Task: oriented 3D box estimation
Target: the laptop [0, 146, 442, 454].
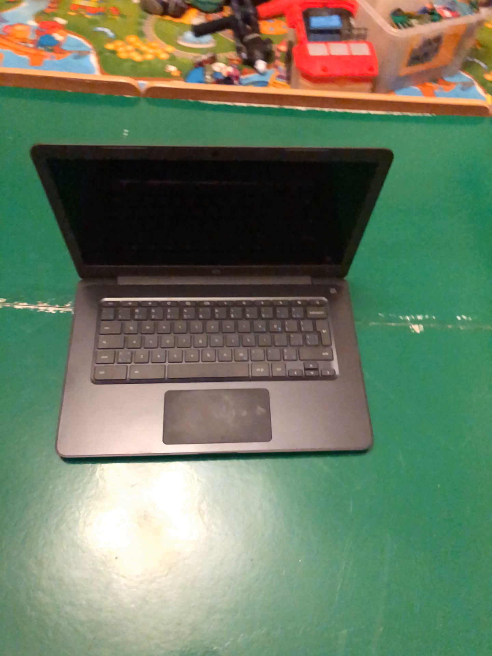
[{"bbox_3d":[-0.024,-0.019,0.525,0.317,0.204,0.211,-1,60,-3],"label":"laptop"}]
